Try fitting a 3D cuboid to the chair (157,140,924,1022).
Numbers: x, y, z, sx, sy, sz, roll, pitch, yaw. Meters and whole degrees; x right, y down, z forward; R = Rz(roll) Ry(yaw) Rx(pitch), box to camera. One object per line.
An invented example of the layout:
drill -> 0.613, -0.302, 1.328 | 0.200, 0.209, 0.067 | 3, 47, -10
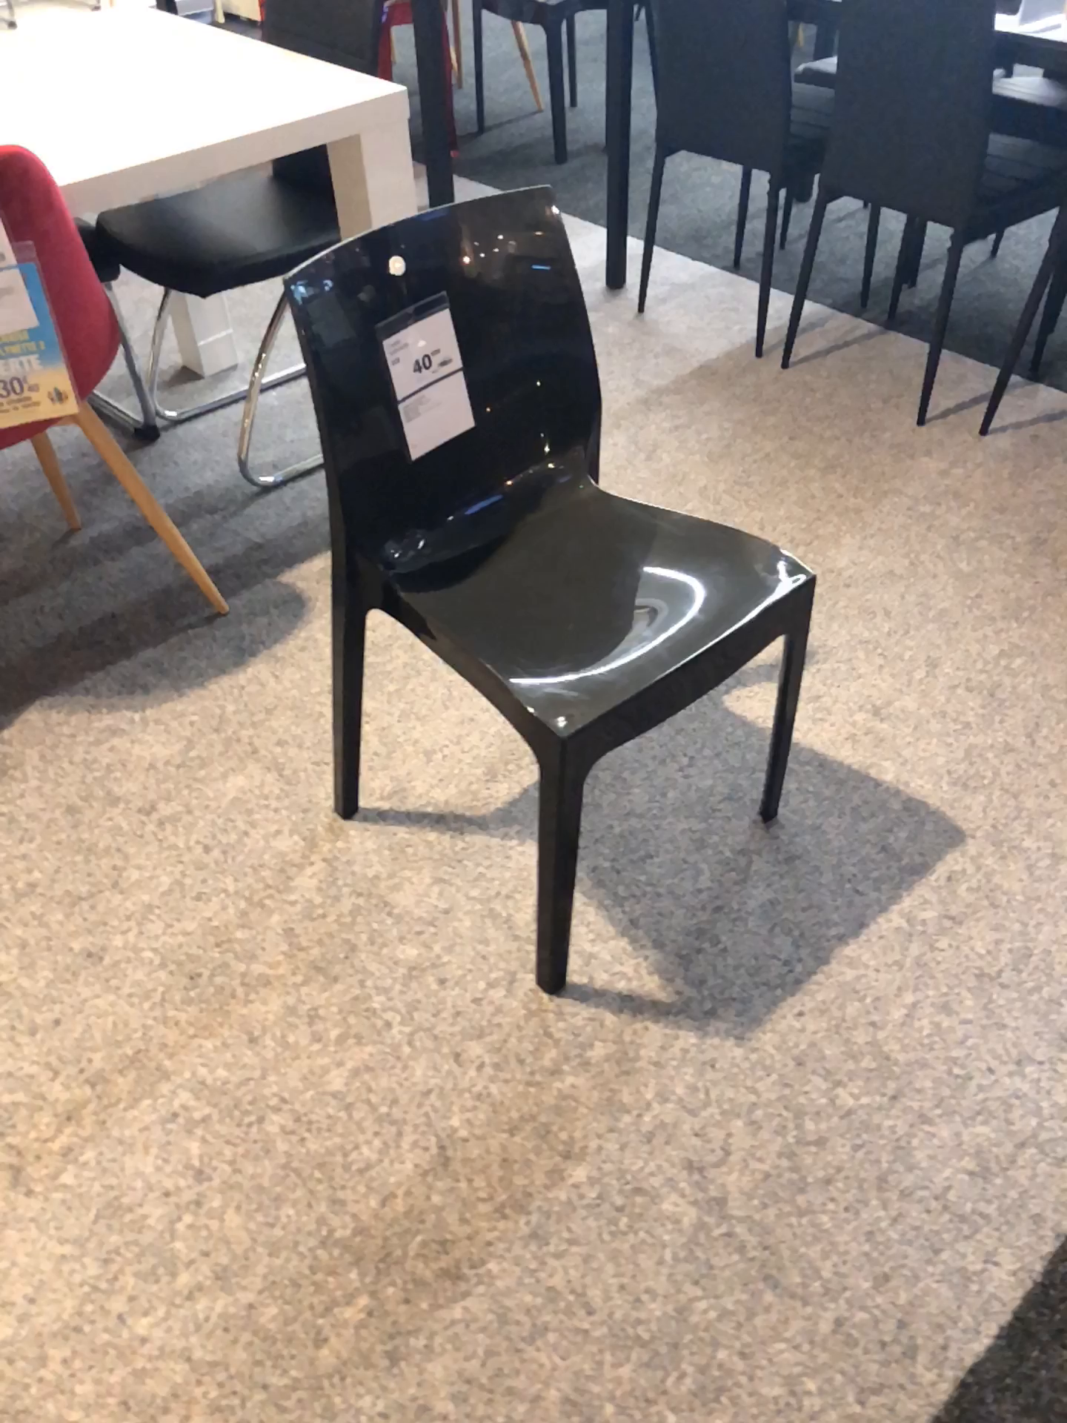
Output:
chair -> 0.011, -0.171, 1.429 | 0.522, 0.766, 0.571 | -34, 51, -31
